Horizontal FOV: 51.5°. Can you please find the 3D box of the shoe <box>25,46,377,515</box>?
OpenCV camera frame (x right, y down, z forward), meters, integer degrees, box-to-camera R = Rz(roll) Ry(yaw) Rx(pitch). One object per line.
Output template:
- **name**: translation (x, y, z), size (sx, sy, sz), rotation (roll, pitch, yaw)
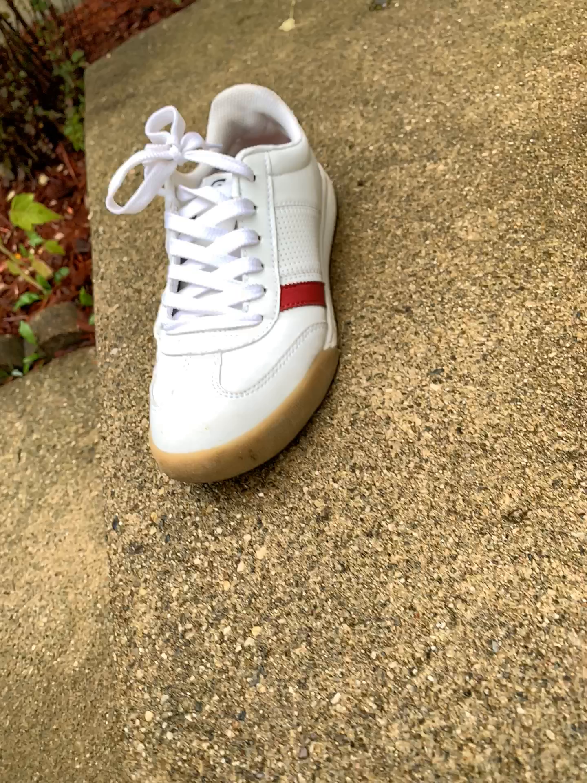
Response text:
- **shoe**: translation (-0.027, -0.074, 0.350), size (0.098, 0.092, 0.270), rotation (-4, 52, 24)
